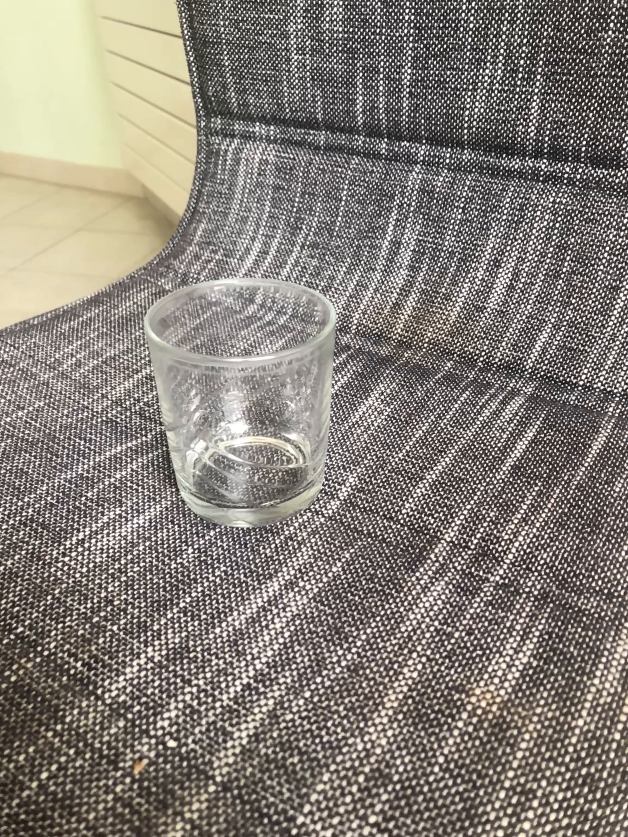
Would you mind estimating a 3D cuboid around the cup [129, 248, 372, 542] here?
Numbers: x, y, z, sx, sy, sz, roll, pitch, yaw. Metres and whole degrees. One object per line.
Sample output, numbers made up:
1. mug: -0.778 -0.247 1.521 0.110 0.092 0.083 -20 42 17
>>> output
1. cup: -0.024 -0.013 0.279 0.070 0.080 0.070 -2 34 1
